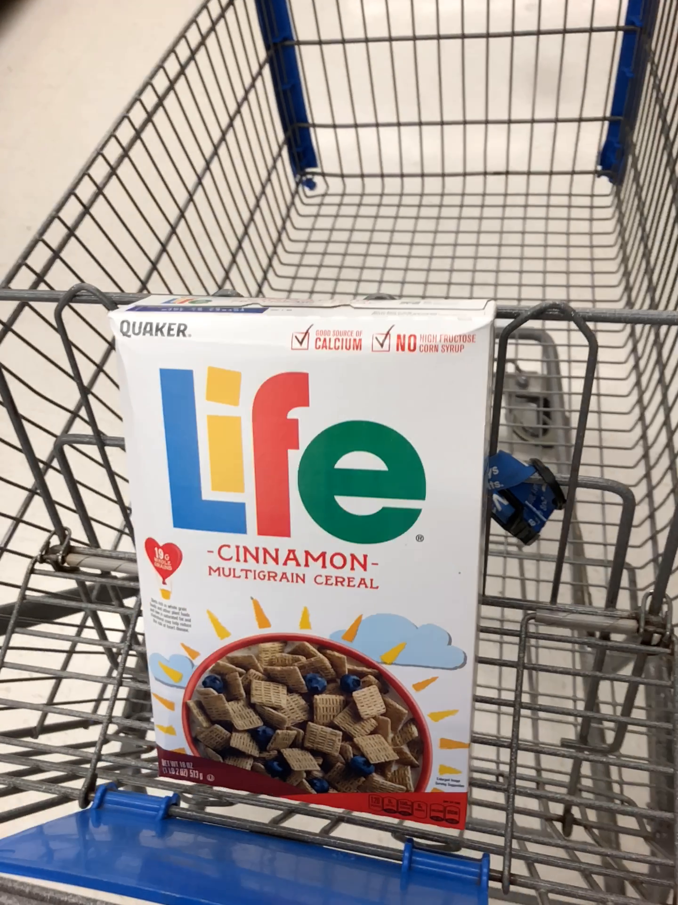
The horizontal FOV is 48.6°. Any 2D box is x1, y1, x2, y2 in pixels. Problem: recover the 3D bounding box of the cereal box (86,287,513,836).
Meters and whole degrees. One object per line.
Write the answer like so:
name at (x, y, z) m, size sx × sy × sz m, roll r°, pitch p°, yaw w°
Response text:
cereal box at (-0.014, 0.055, 0.415) m, size 0.200 × 0.280 × 0.070 m, roll 3°, pitch 18°, yaw 14°
